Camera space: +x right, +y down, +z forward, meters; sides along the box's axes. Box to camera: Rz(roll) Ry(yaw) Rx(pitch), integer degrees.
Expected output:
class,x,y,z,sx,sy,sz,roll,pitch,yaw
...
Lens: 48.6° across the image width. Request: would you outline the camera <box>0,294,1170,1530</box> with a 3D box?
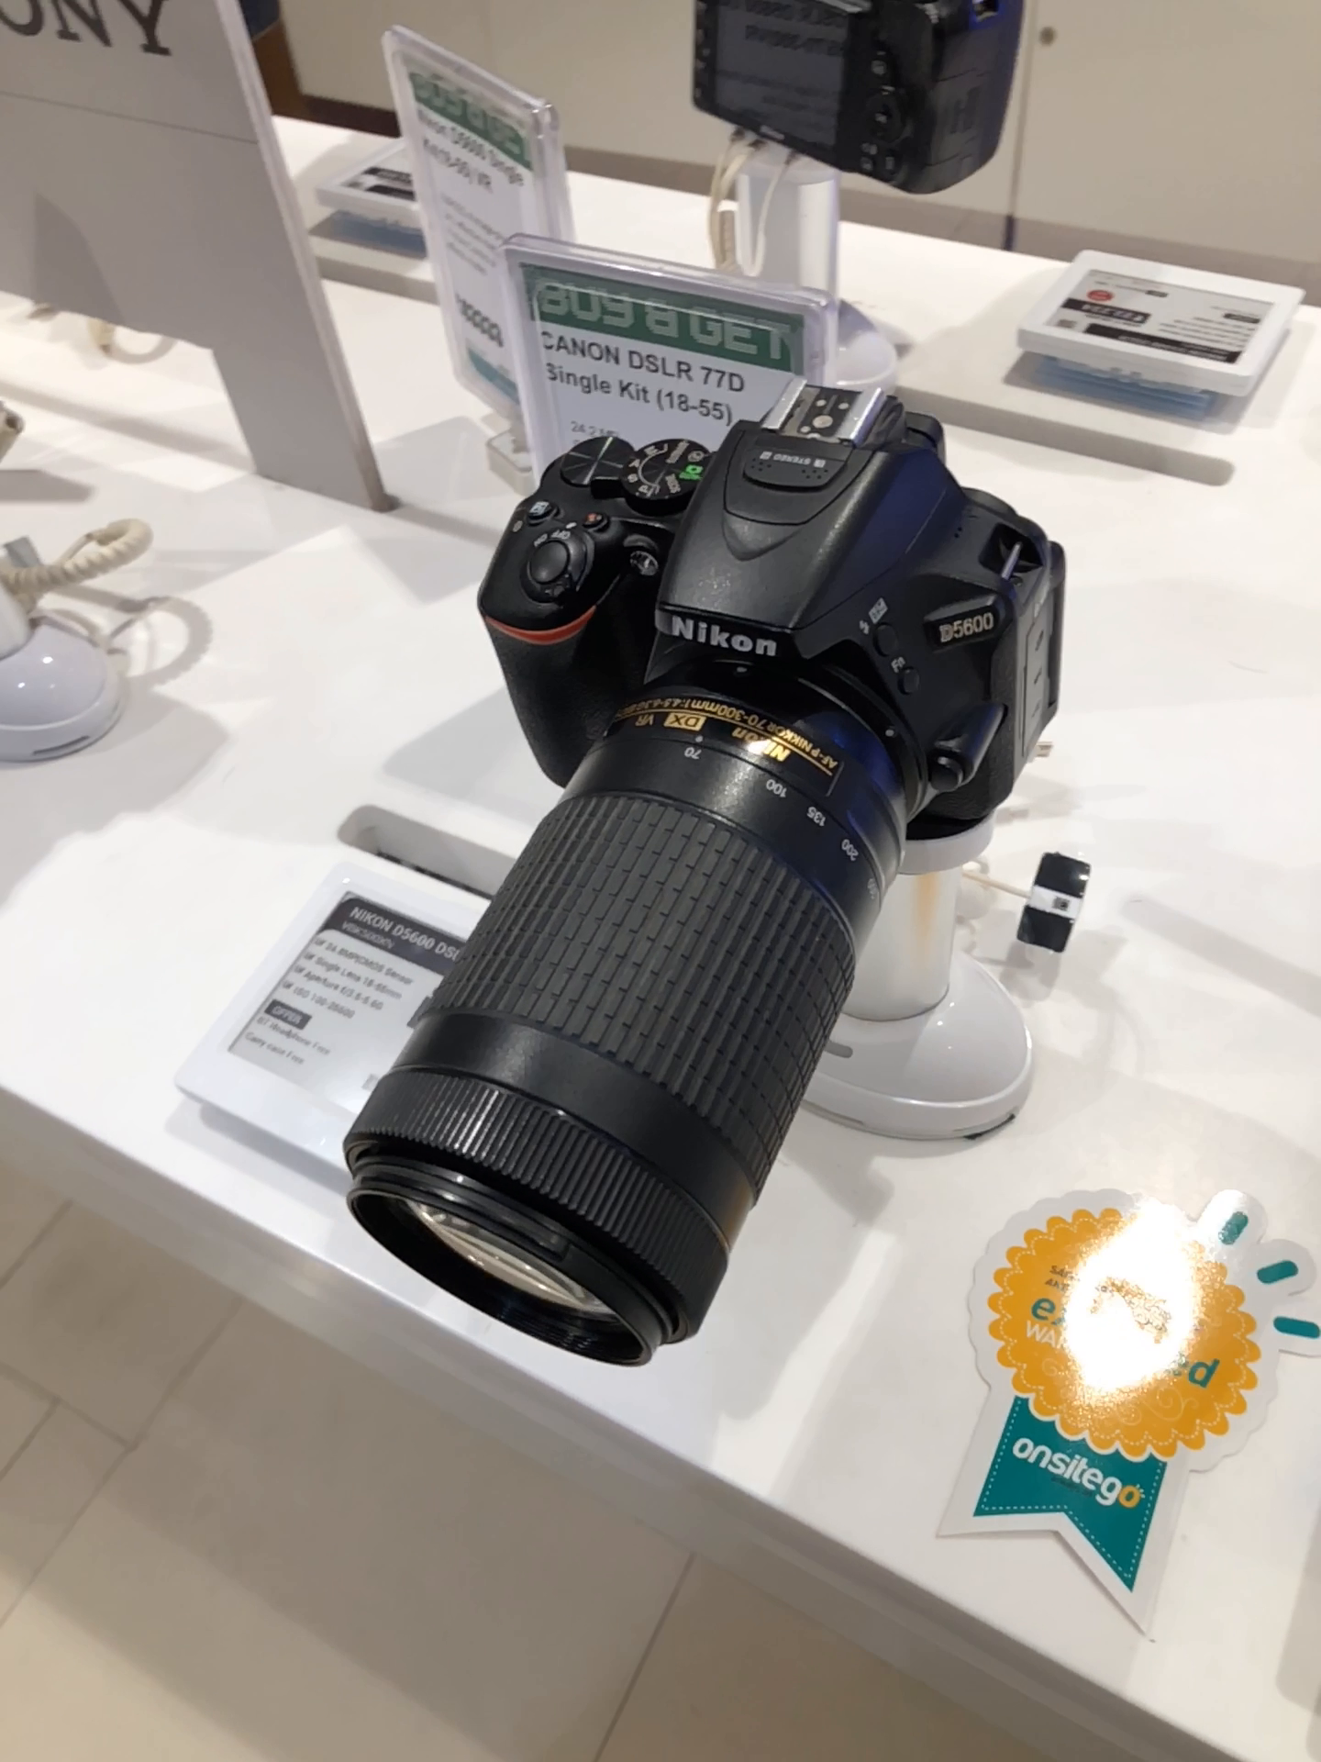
class,x,y,z,sx,sy,sz,roll,pitch,yaw
camera,-0.004,-0.013,0.288,0.140,0.089,0.201,19,54,20
